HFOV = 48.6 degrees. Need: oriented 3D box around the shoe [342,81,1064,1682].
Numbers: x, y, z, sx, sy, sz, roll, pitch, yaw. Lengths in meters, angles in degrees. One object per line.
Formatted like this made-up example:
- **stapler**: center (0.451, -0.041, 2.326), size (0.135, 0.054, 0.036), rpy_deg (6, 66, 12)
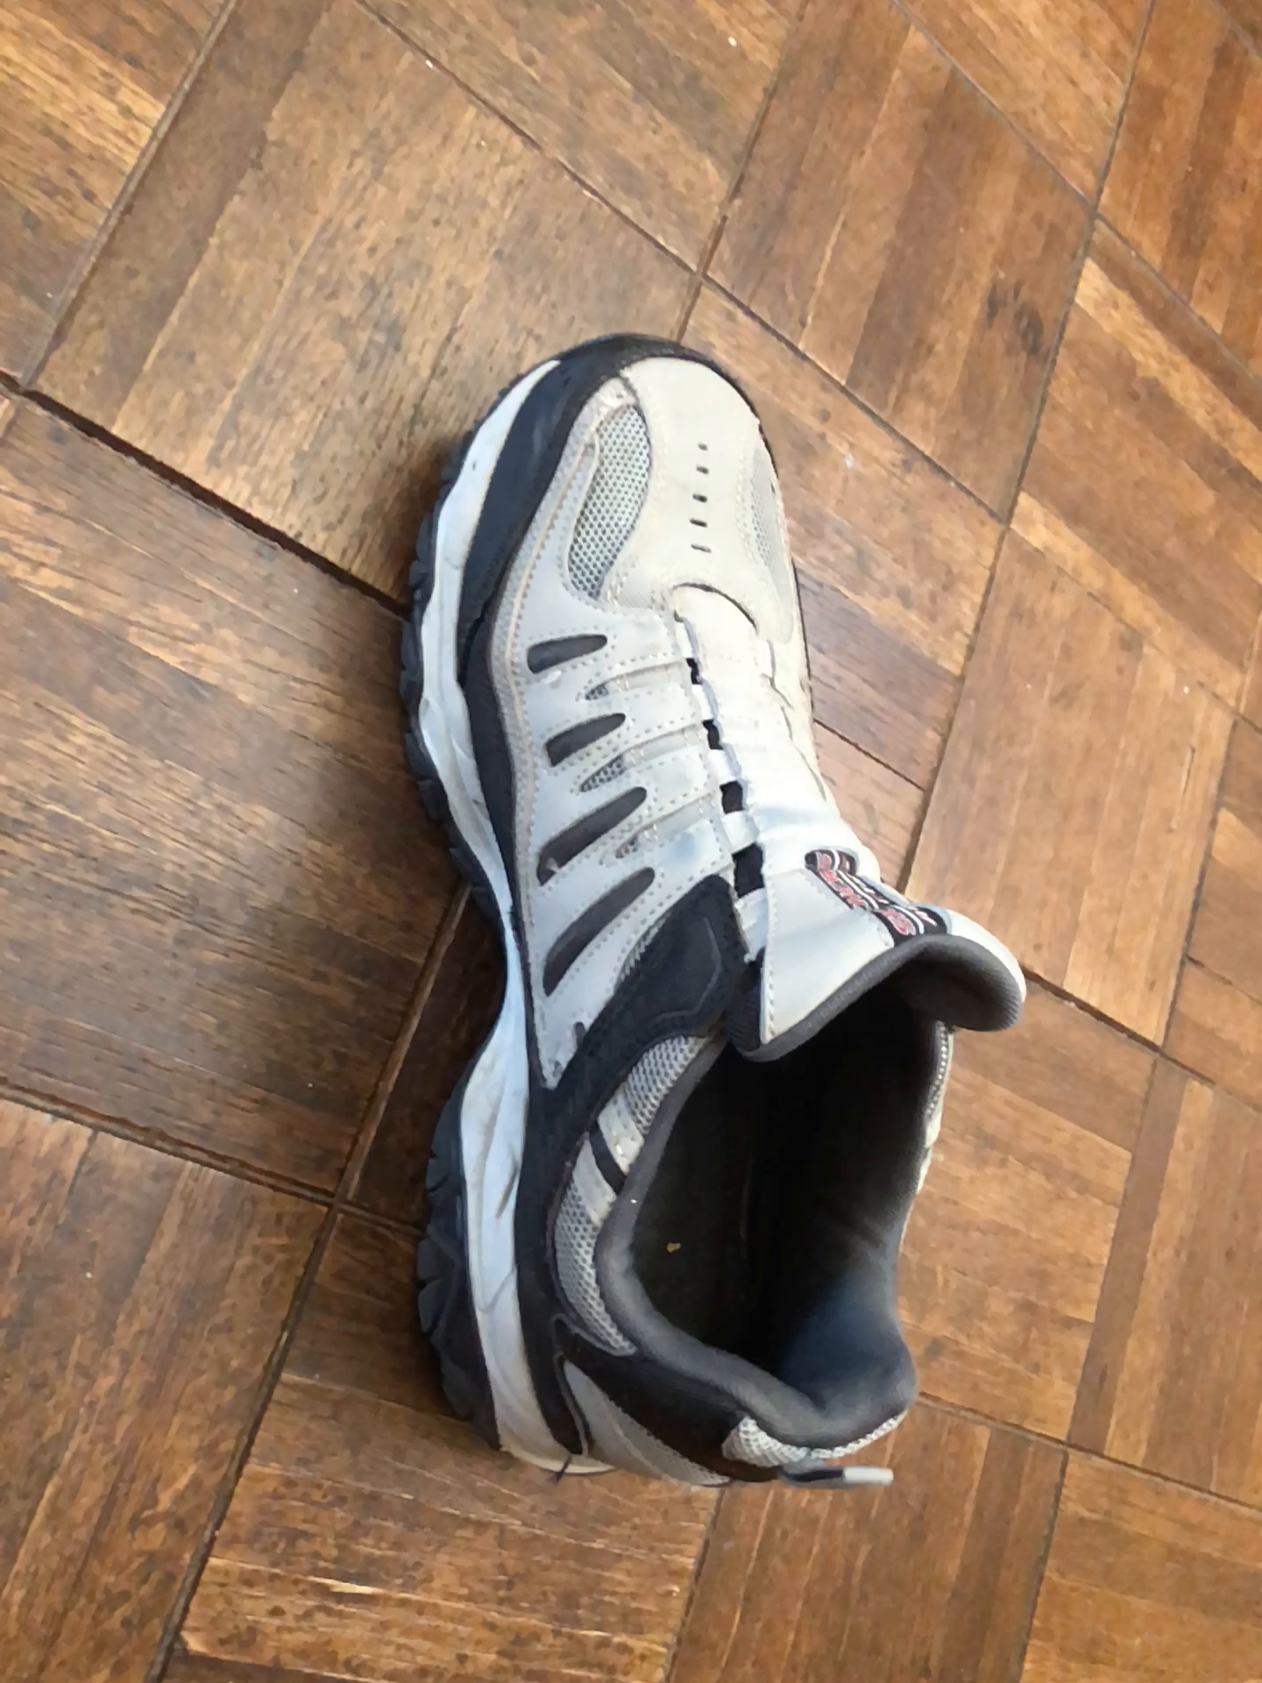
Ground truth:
- **shoe**: center (0.012, 0.010, 0.373), size (0.120, 0.149, 0.320), rpy_deg (3, 84, -33)
